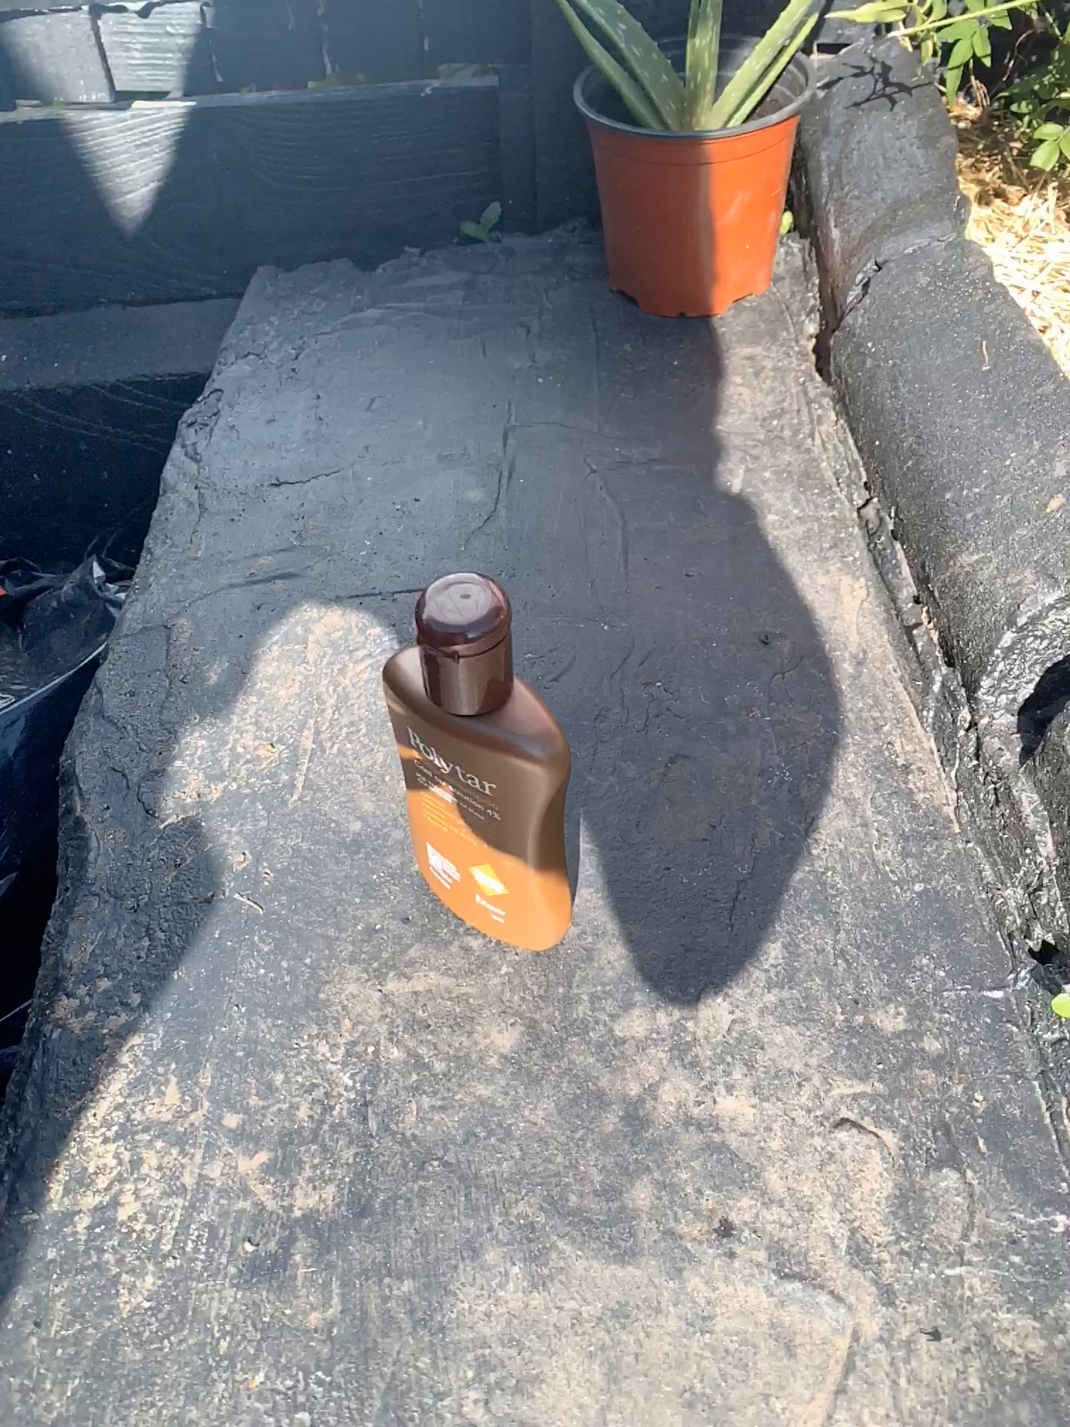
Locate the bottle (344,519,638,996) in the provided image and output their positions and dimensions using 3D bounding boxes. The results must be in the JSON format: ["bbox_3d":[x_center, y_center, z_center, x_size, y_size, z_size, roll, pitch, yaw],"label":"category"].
[{"bbox_3d":[-0.010,0.020,0.352,0.070,0.149,0.040,28,54,25],"label":"bottle"}]
